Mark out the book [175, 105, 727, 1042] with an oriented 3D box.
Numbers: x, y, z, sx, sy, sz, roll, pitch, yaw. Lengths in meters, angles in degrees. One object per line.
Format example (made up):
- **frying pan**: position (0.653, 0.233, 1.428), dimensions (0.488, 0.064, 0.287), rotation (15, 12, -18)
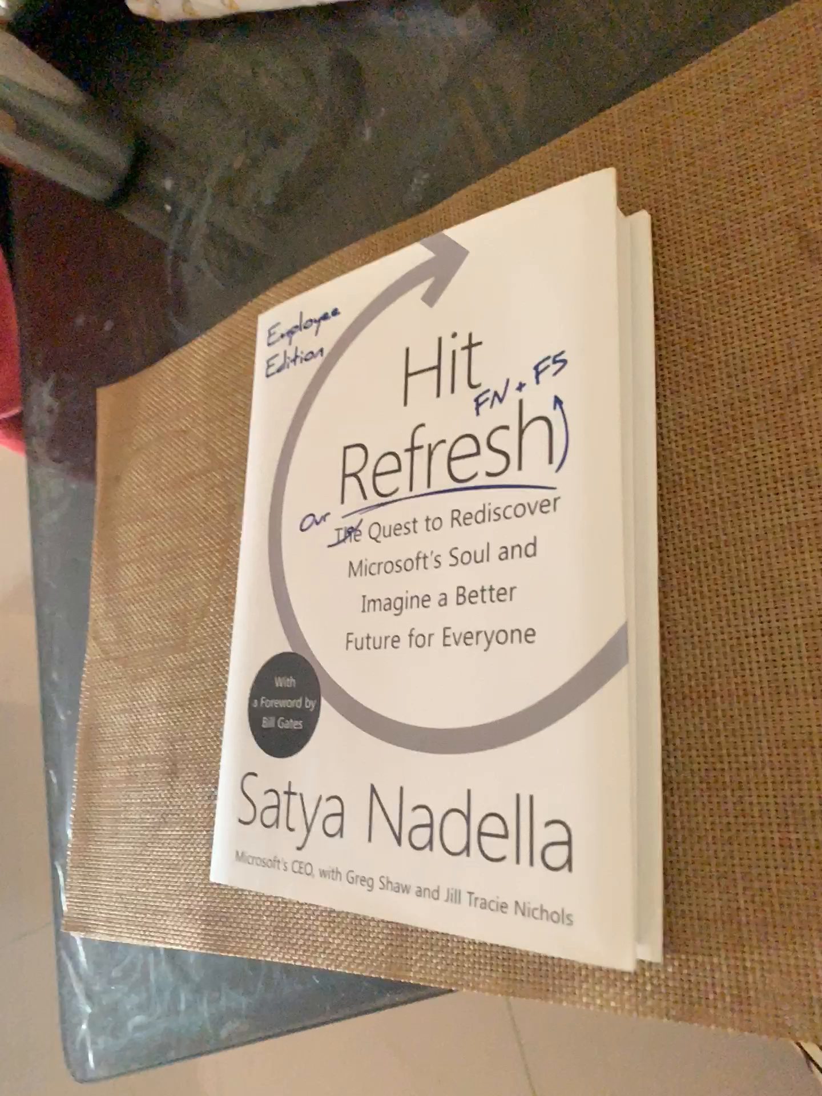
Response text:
- **book**: position (0.006, 0.004, 0.297), dimensions (0.191, 0.040, 0.250), rotation (-7, 74, 39)
